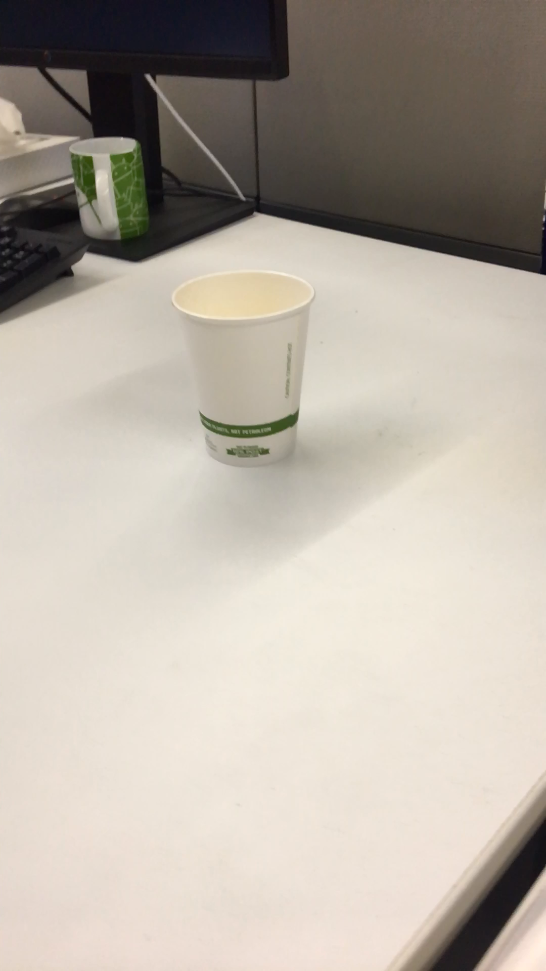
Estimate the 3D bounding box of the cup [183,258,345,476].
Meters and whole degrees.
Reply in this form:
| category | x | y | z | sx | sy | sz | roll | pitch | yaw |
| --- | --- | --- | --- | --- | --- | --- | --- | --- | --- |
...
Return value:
| category | x | y | z | sx | sy | sz | roll | pitch | yaw |
| --- | --- | --- | --- | --- | --- | --- | --- | --- | --- |
| cup | -0.007 | -0.077 | 0.513 | 0.080 | 0.100 | 0.090 | -8 | 33 | -10 |
